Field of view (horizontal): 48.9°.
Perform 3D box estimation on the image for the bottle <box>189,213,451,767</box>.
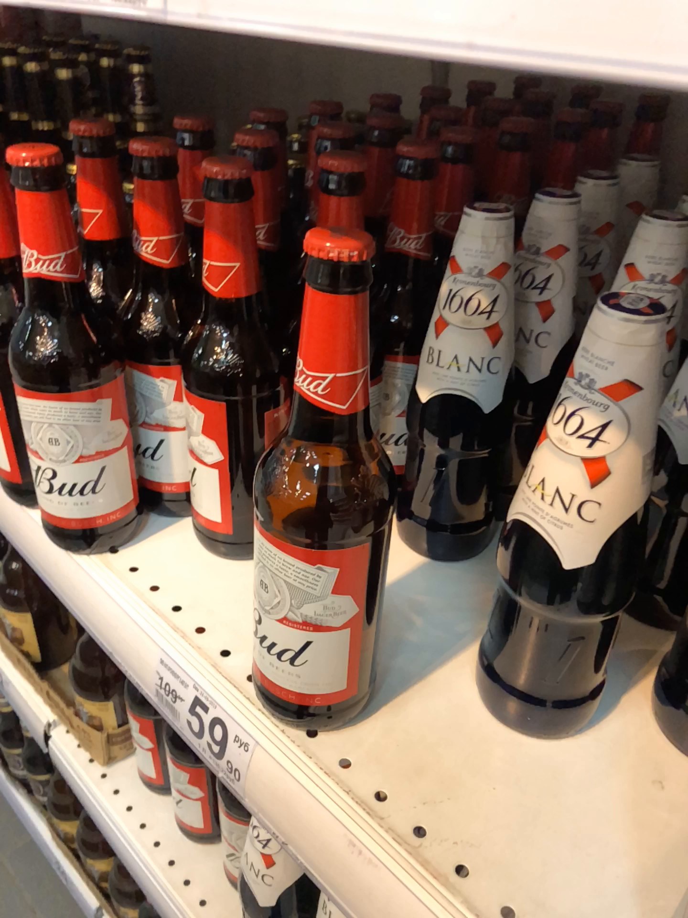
[{"bbox_3d":[-0.014,0.022,0.364,0.070,0.248,0.080,-20,38,-31],"label":"bottle"}]
